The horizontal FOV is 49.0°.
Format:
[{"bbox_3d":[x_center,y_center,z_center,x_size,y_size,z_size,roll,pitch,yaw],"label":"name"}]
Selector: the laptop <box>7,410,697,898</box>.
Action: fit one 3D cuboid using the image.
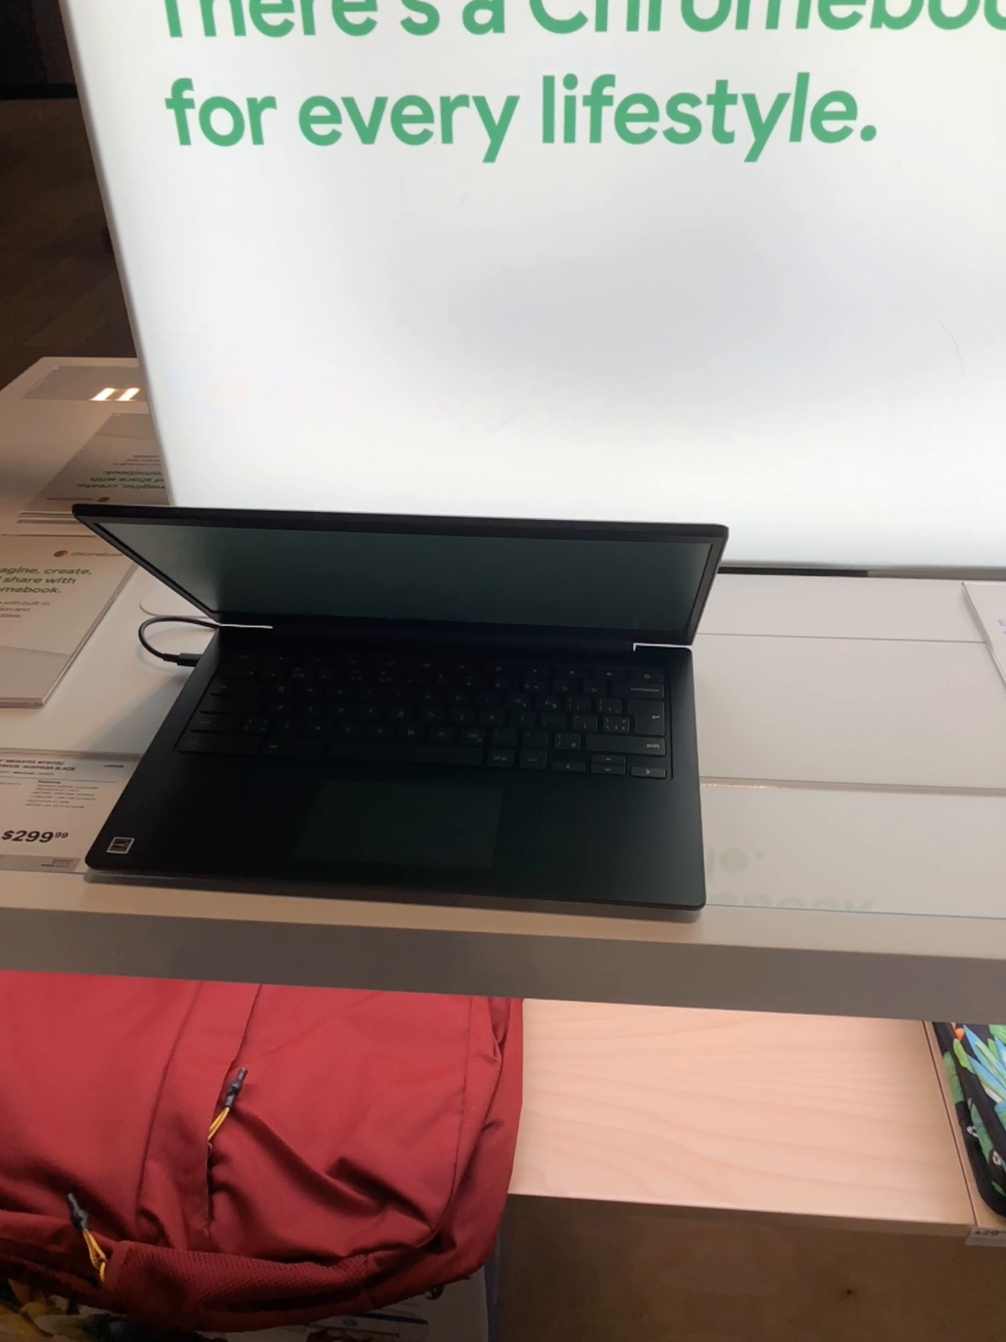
[{"bbox_3d":[-0.057,-0.022,0.608,0.306,0.157,0.214,3,37,7],"label":"laptop"}]
